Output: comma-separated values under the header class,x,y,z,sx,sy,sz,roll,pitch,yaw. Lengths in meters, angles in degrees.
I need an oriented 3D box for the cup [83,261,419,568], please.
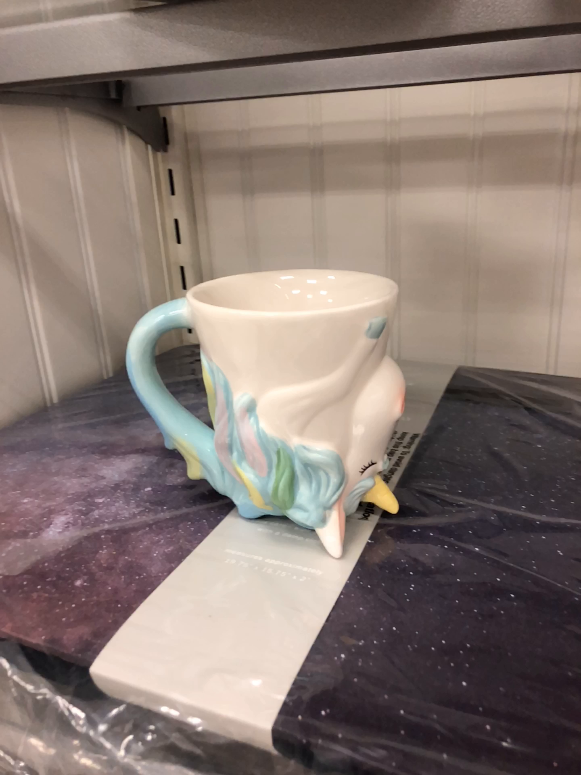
class,x,y,z,sx,sy,sz,roll,pitch,yaw
cup,-0.007,0.006,0.328,0.140,0.118,0.101,1,21,12
